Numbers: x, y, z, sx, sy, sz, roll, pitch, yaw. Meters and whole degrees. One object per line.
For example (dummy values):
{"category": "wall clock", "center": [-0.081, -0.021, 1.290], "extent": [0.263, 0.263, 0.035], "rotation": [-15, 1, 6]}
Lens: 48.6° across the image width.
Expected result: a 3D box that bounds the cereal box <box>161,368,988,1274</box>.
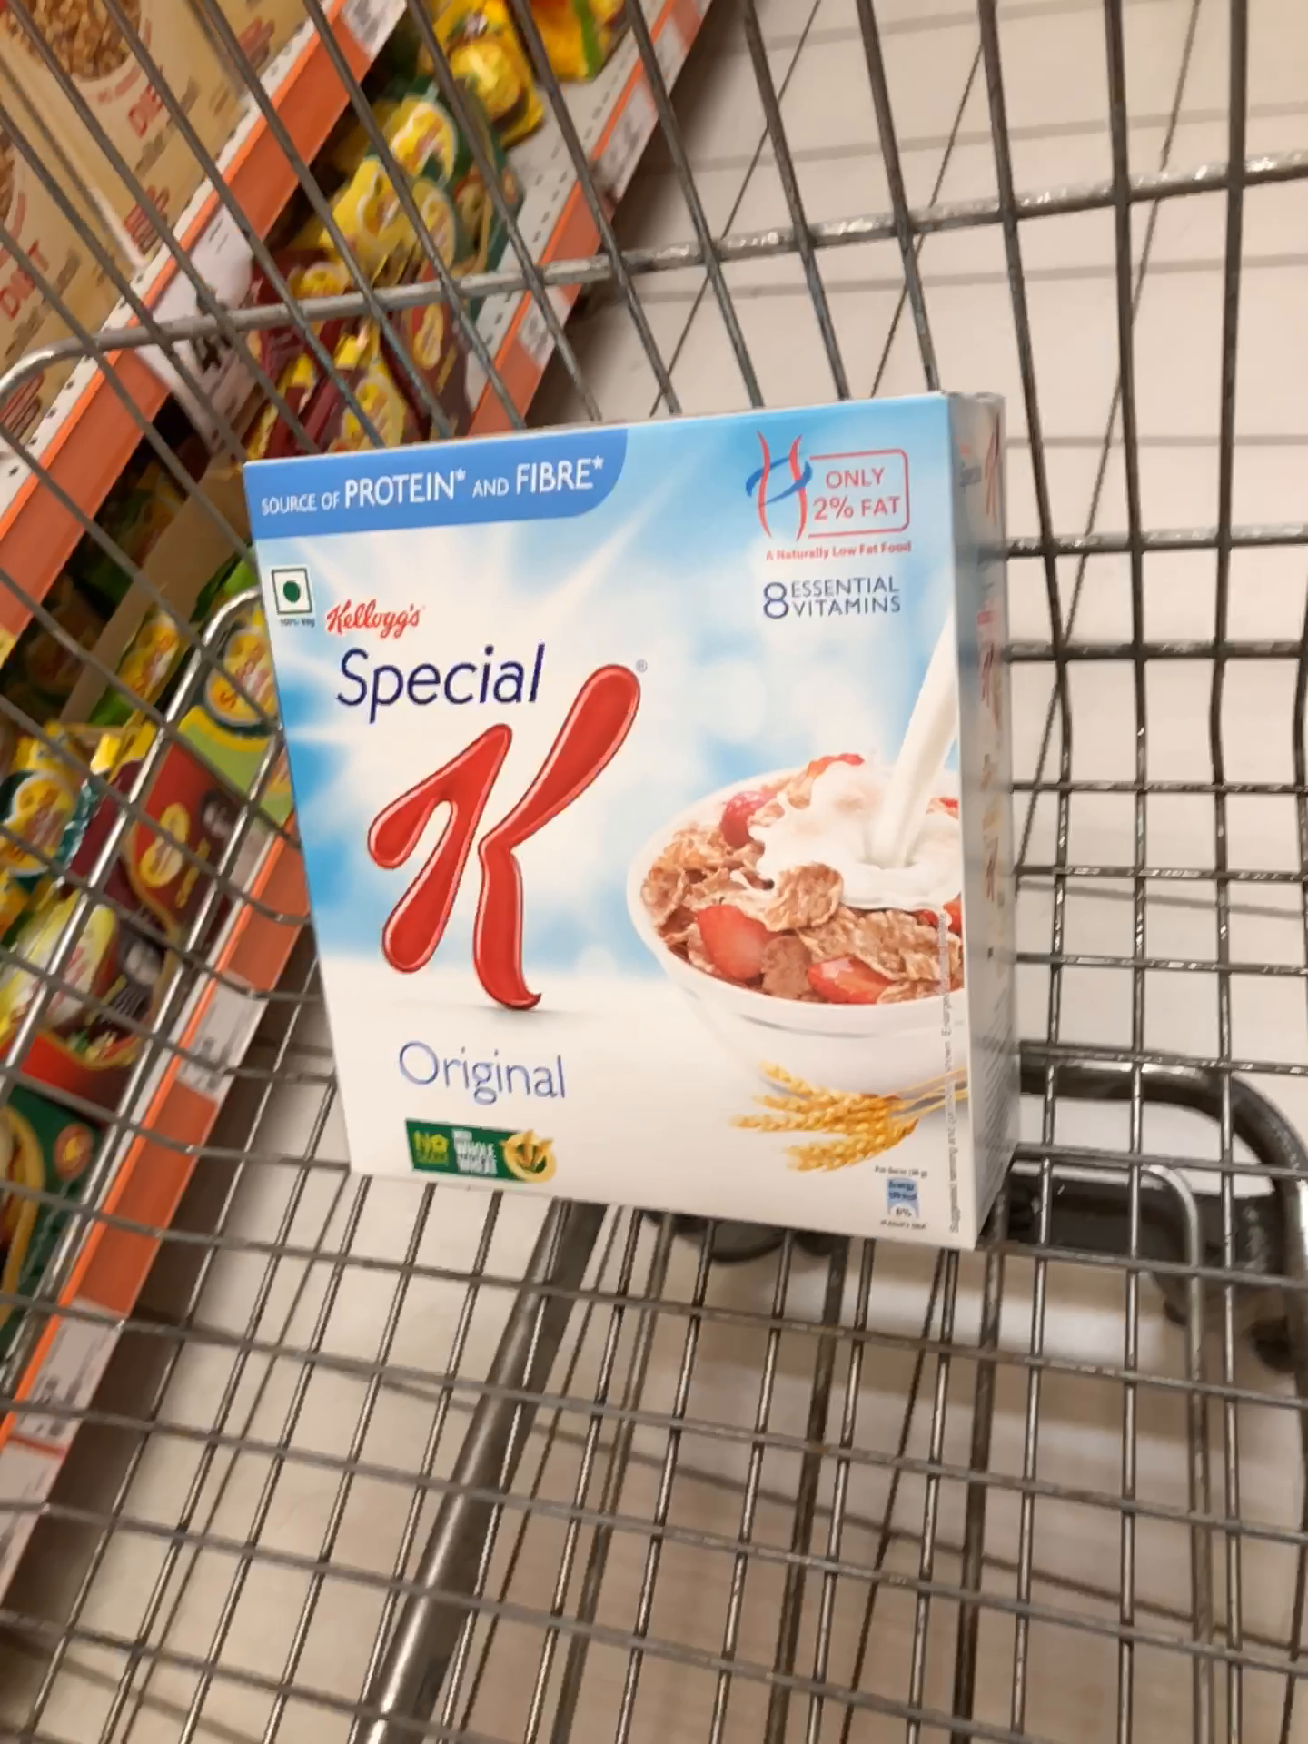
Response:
{"category": "cereal box", "center": [-0.014, -0.015, 0.390], "extent": [0.190, 0.209, 0.070], "rotation": [1, 17, 21]}
